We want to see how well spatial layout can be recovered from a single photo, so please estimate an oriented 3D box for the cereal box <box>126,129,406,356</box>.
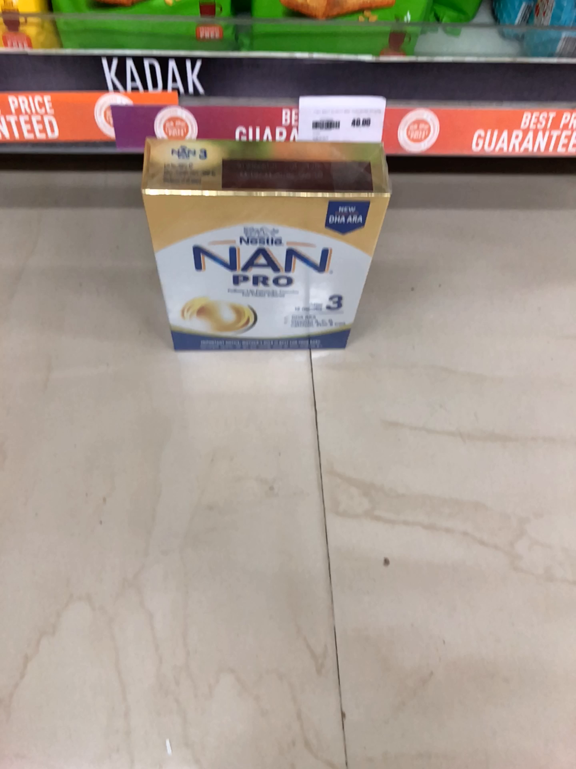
[{"bbox_3d":[-0.018,-0.089,0.461,0.160,0.189,0.050,-1,64,-4],"label":"cereal box"}]
